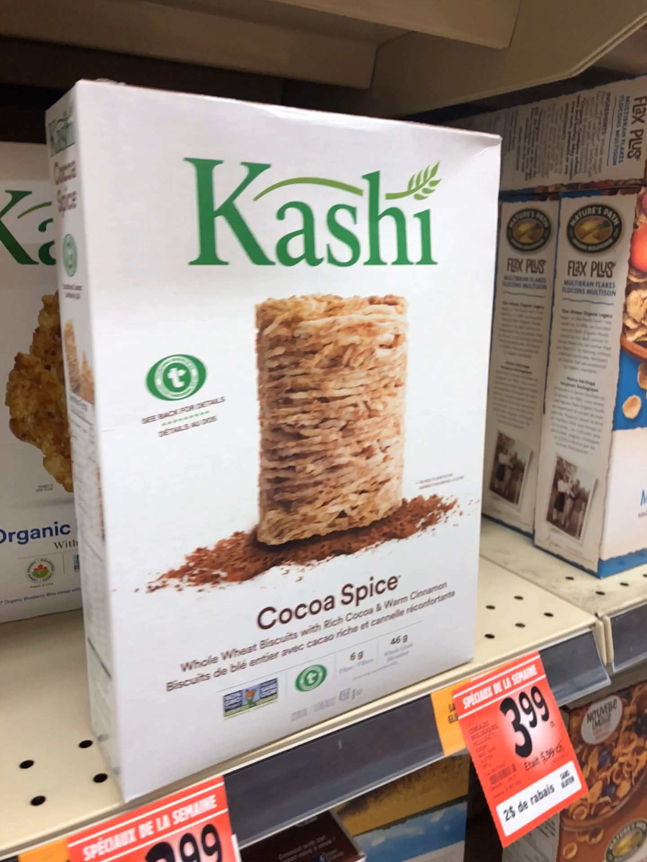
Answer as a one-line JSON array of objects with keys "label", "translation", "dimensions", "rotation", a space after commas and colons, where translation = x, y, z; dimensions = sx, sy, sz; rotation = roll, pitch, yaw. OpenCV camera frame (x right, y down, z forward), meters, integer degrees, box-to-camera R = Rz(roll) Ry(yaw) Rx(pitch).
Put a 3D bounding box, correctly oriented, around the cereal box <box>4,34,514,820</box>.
[{"label": "cereal box", "translation": [-0.015, -0.005, 0.330], "dimensions": [0.210, 0.279, 0.060], "rotation": [-9, 15, -33]}]
